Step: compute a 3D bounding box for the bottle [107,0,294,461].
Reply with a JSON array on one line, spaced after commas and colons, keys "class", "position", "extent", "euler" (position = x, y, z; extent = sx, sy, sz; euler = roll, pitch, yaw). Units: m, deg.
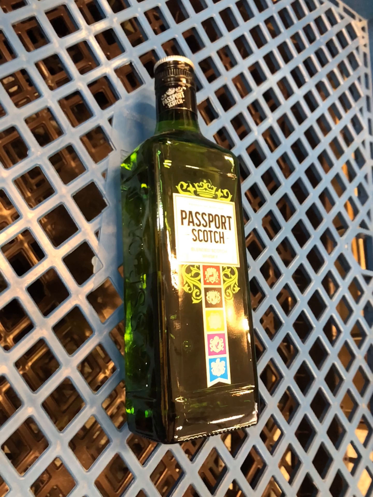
[{"class": "bottle", "position": [0.002, -0.024, 0.283], "extent": [0.080, 0.070, 0.280], "euler": [3, 77, -32]}]
